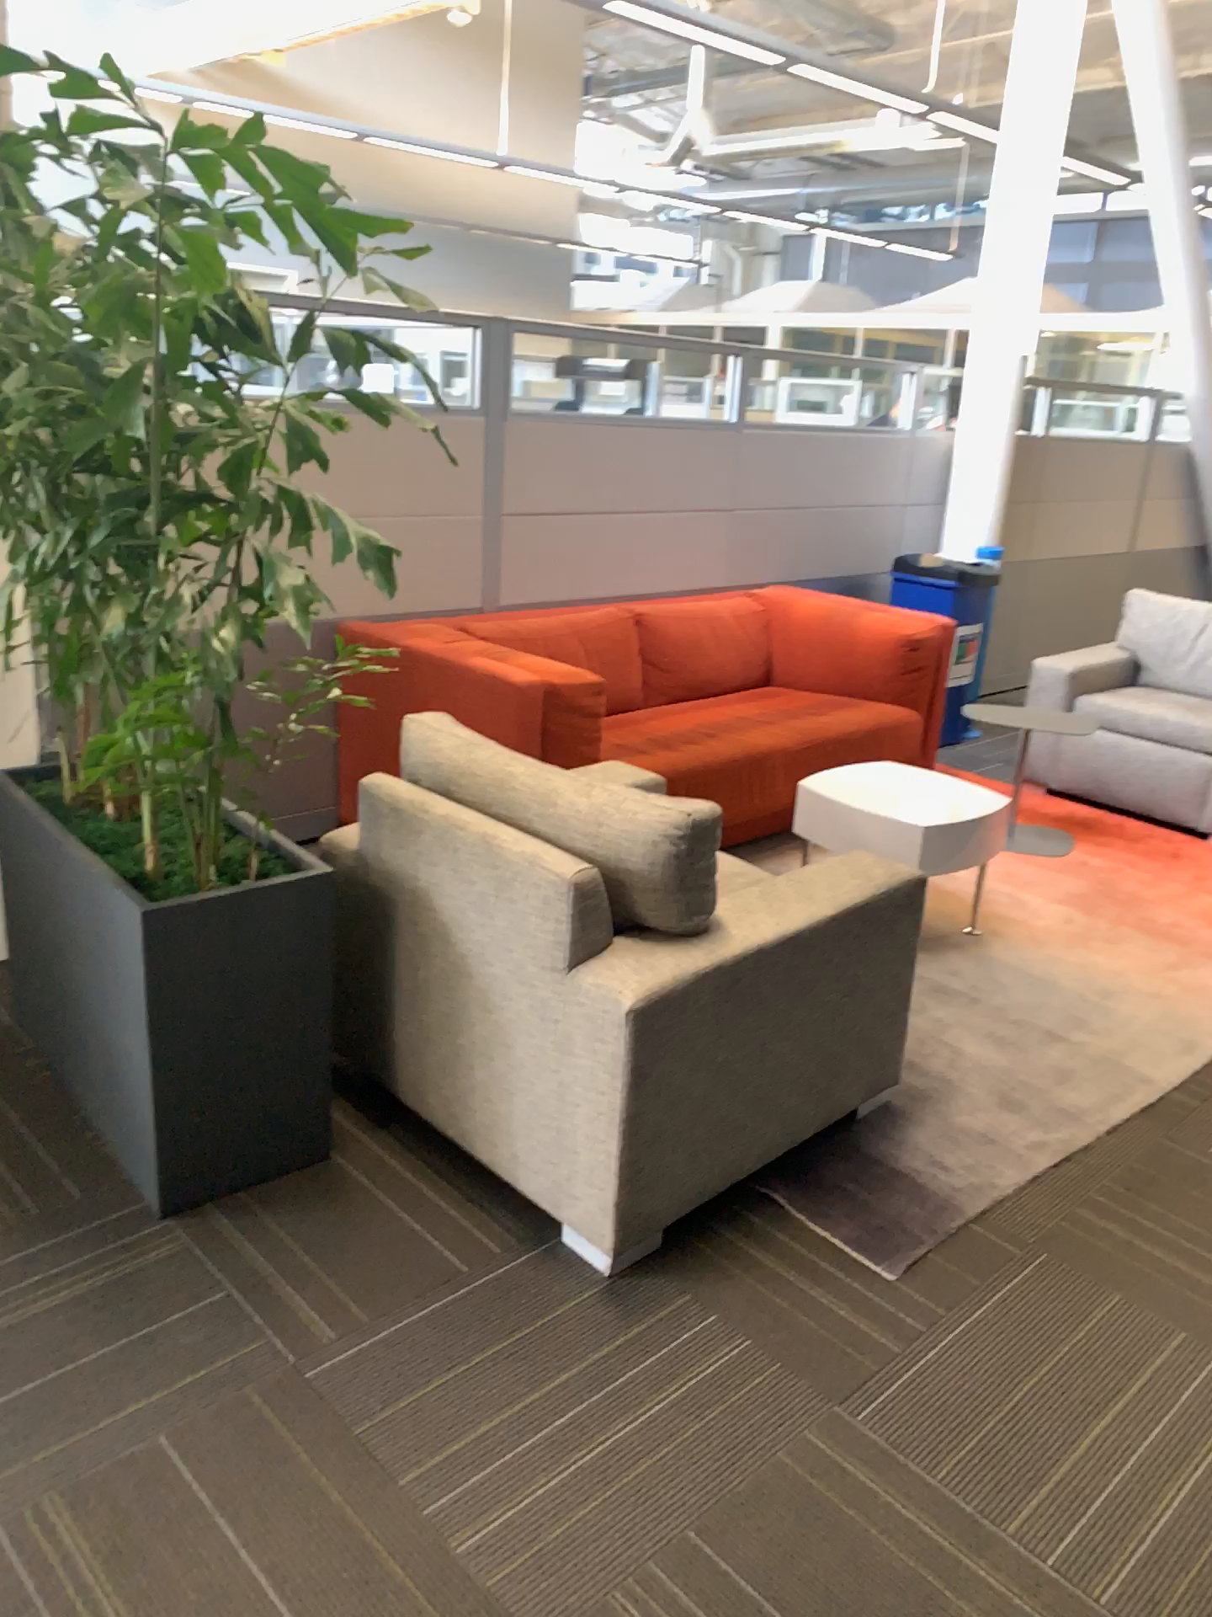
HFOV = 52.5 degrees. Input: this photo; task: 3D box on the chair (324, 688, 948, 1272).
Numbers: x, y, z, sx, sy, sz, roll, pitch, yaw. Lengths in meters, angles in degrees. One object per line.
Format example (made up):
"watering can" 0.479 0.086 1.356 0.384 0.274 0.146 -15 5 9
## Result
"chair" 0.038 0.246 2.603 0.923 0.727 0.871 20 24 40
